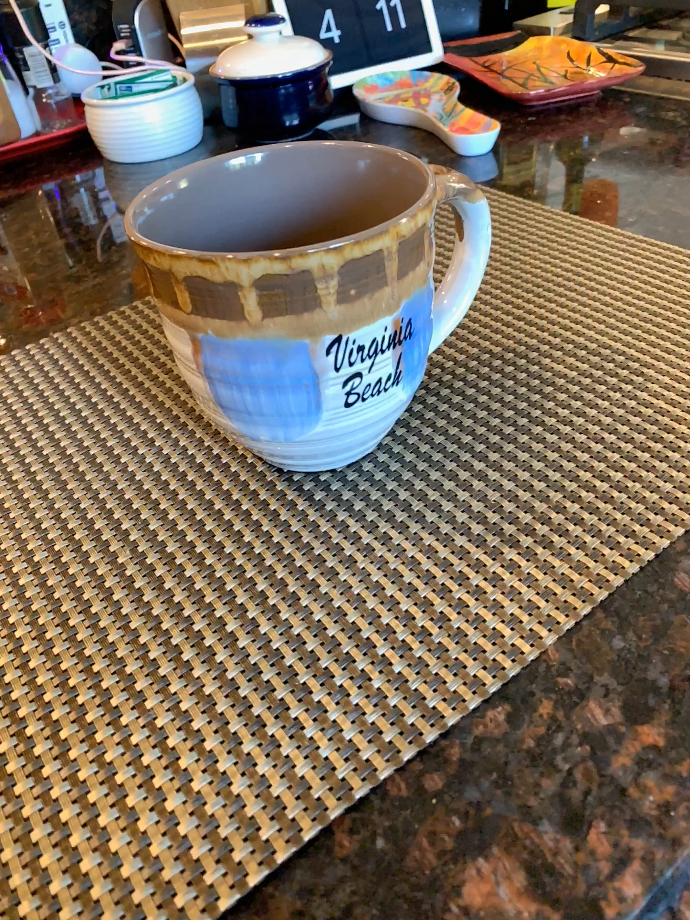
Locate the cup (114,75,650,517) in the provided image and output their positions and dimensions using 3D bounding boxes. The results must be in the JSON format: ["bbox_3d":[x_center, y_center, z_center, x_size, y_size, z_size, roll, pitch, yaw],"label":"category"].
[{"bbox_3d":[0.014,-0.071,0.269,0.150,0.090,0.100,-26,44,-20],"label":"cup"}]
